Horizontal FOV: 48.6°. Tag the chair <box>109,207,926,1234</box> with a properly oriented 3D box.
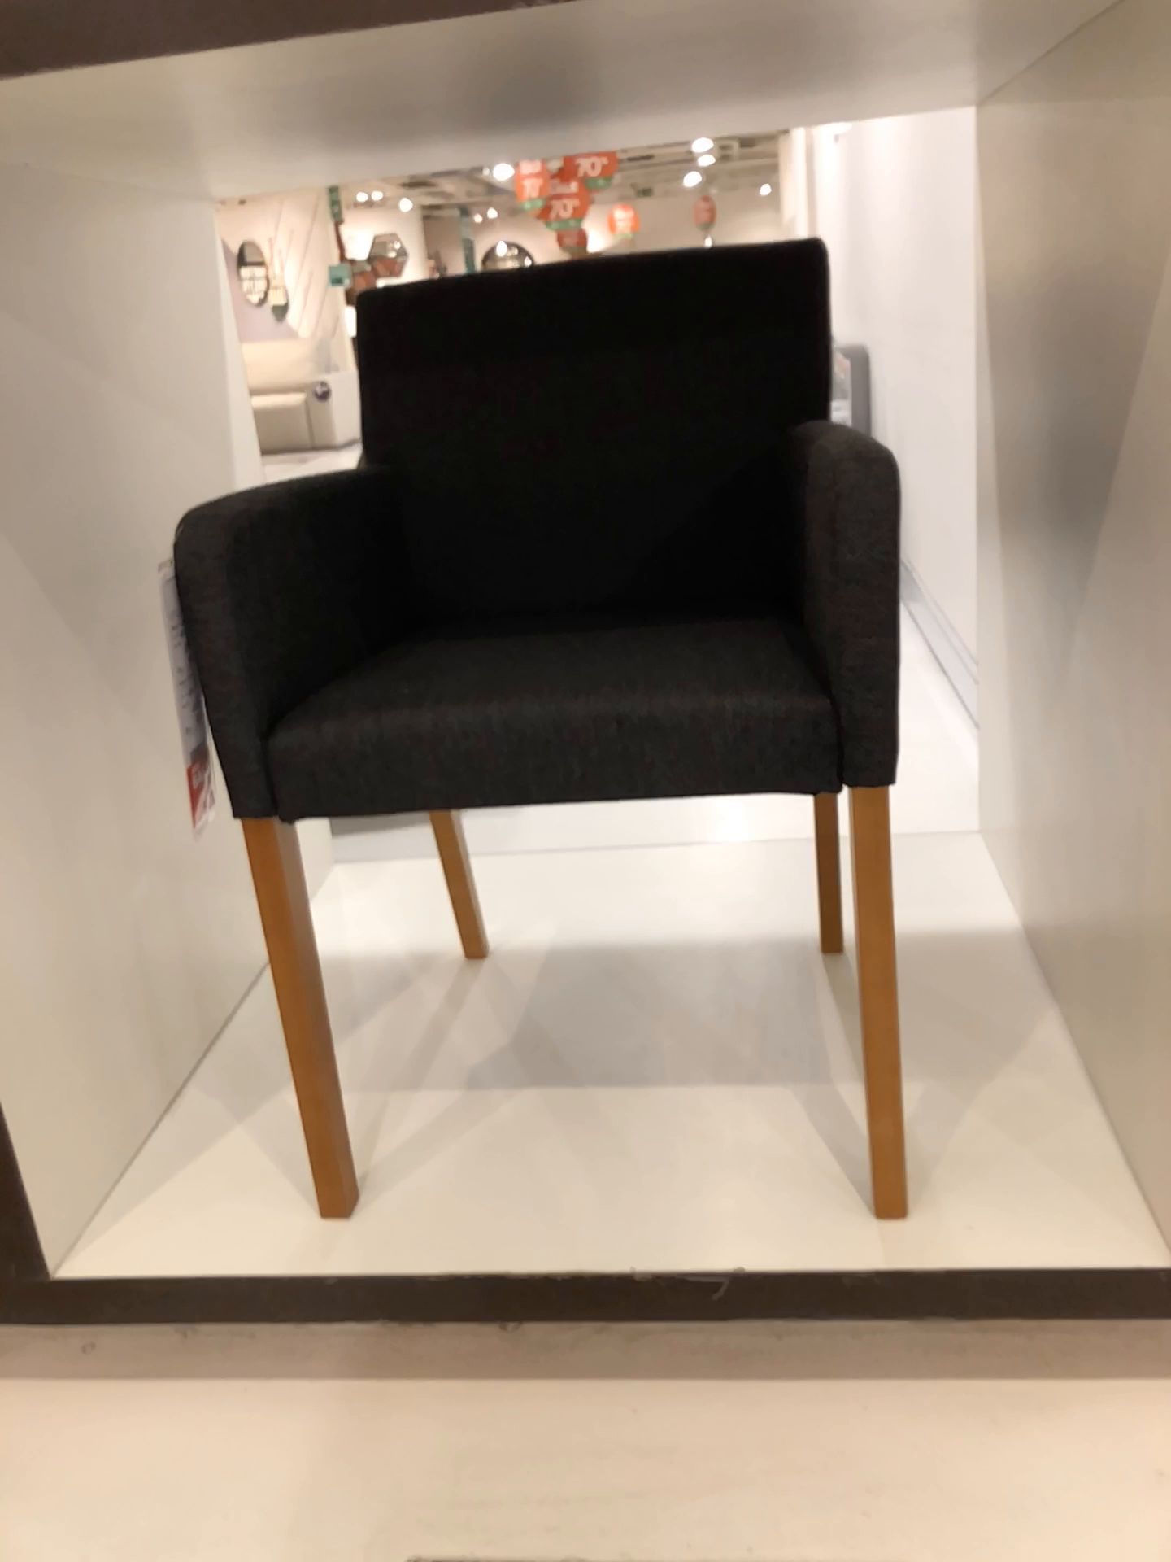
[{"bbox_3d":[0.014,-0.083,1.268,0.560,0.795,0.564,-2,20,10],"label":"chair"}]
